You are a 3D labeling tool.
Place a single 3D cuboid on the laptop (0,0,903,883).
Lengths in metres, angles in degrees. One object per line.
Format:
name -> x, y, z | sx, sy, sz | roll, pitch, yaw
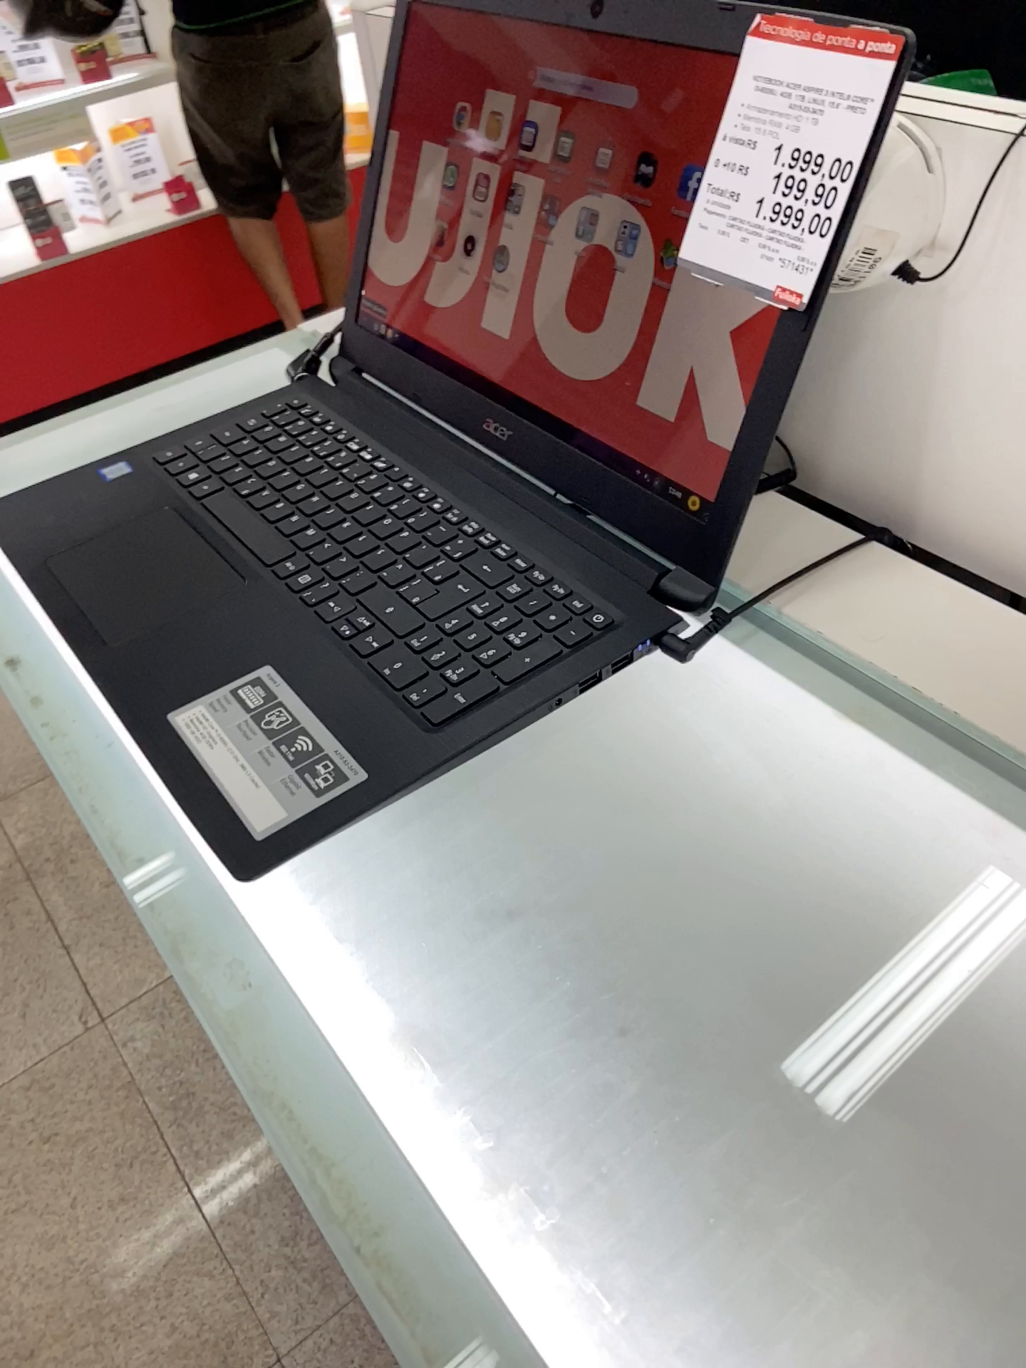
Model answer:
laptop -> -0.094, -0.186, 0.549 | 0.370, 0.230, 0.393 | -30, 46, -23
